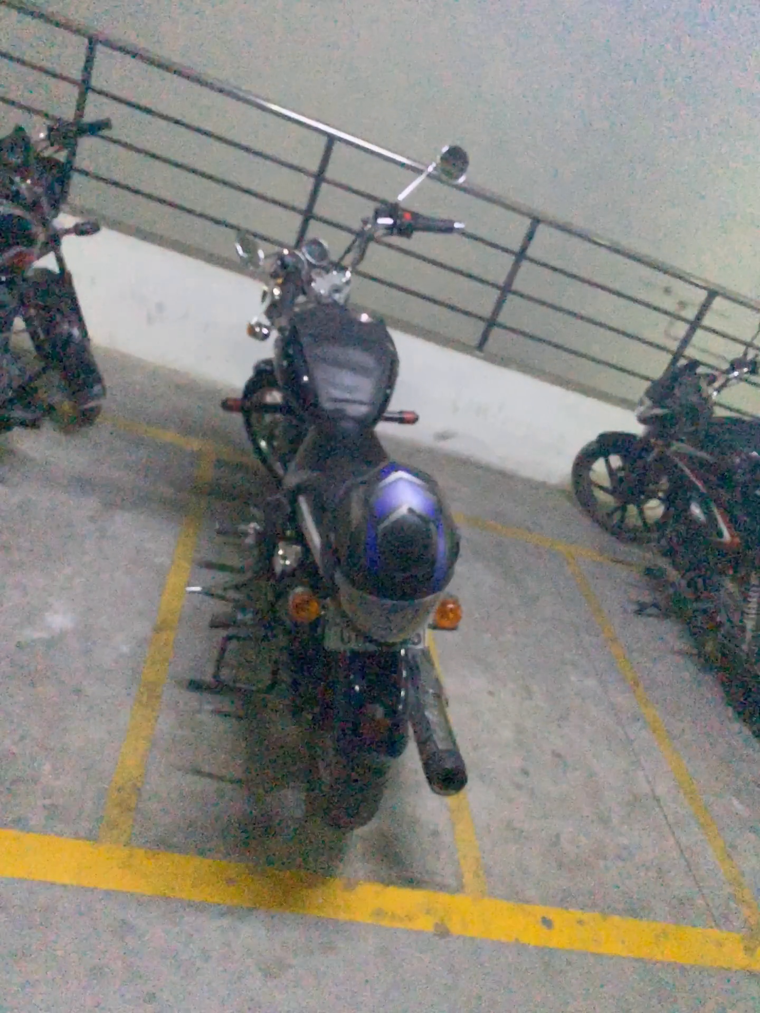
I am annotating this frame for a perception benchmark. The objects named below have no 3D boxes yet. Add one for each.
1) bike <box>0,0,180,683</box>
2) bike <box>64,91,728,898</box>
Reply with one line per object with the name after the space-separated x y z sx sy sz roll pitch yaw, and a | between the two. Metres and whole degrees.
-1.259 -0.553 2.142 0.593 1.193 1.510 23 27 -1 | bike
-0.263 -0.148 2.115 0.843 1.303 1.671 11 29 -25 | bike
